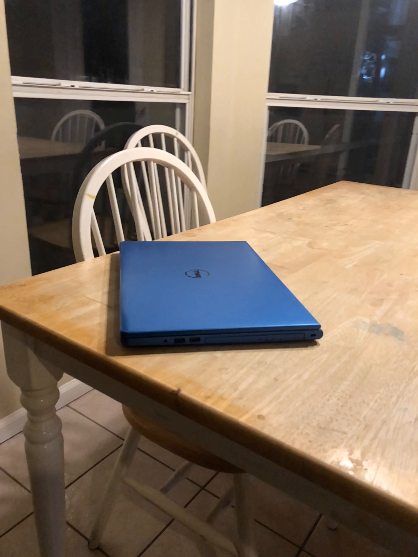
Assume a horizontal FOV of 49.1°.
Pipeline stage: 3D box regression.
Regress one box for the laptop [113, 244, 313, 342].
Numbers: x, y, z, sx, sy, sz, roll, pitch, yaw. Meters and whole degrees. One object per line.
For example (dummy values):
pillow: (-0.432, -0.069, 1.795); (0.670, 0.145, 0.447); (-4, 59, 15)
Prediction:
laptop: (-0.024, 0.003, 0.761); (0.259, 0.001, 0.390); (-2, 21, -10)
